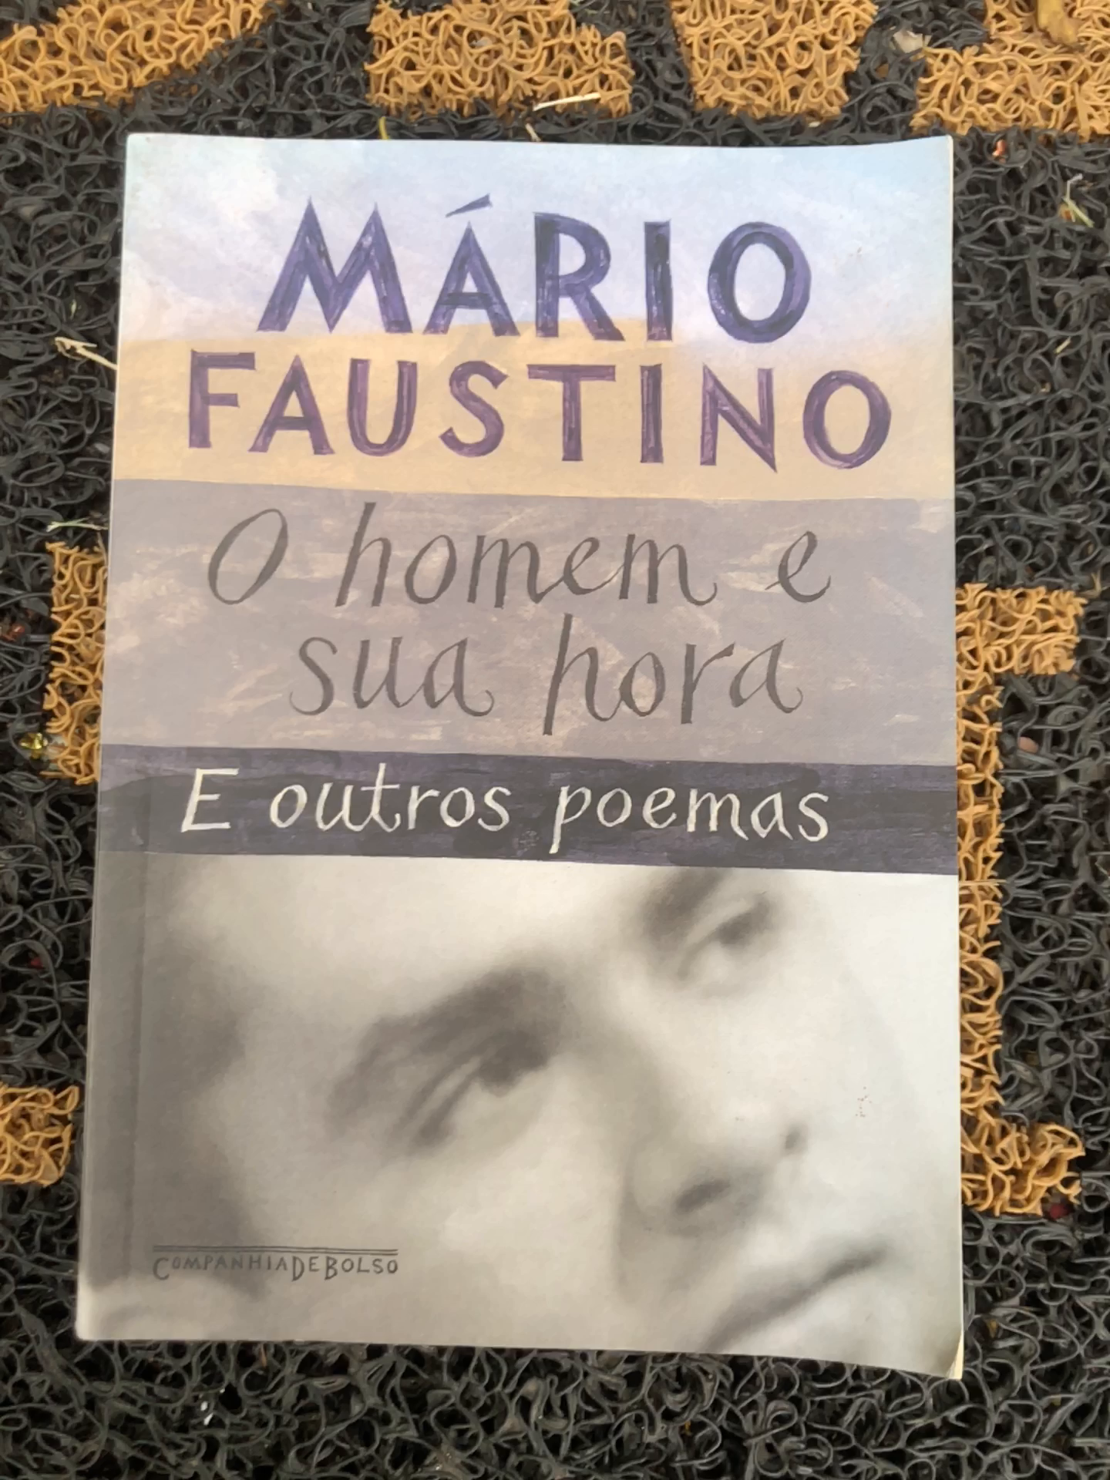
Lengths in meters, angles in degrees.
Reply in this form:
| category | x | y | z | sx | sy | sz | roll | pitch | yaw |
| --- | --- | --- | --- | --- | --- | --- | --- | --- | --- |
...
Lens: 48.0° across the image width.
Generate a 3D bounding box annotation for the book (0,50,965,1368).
| category | x | y | z | sx | sy | sz | roll | pitch | yaw |
| --- | --- | --- | --- | --- | --- | --- | --- | --- | --- |
| book | -0.007 | -0.007 | 0.177 | 0.124 | 0.020 | 0.174 | 1 | 85 | 1 |
